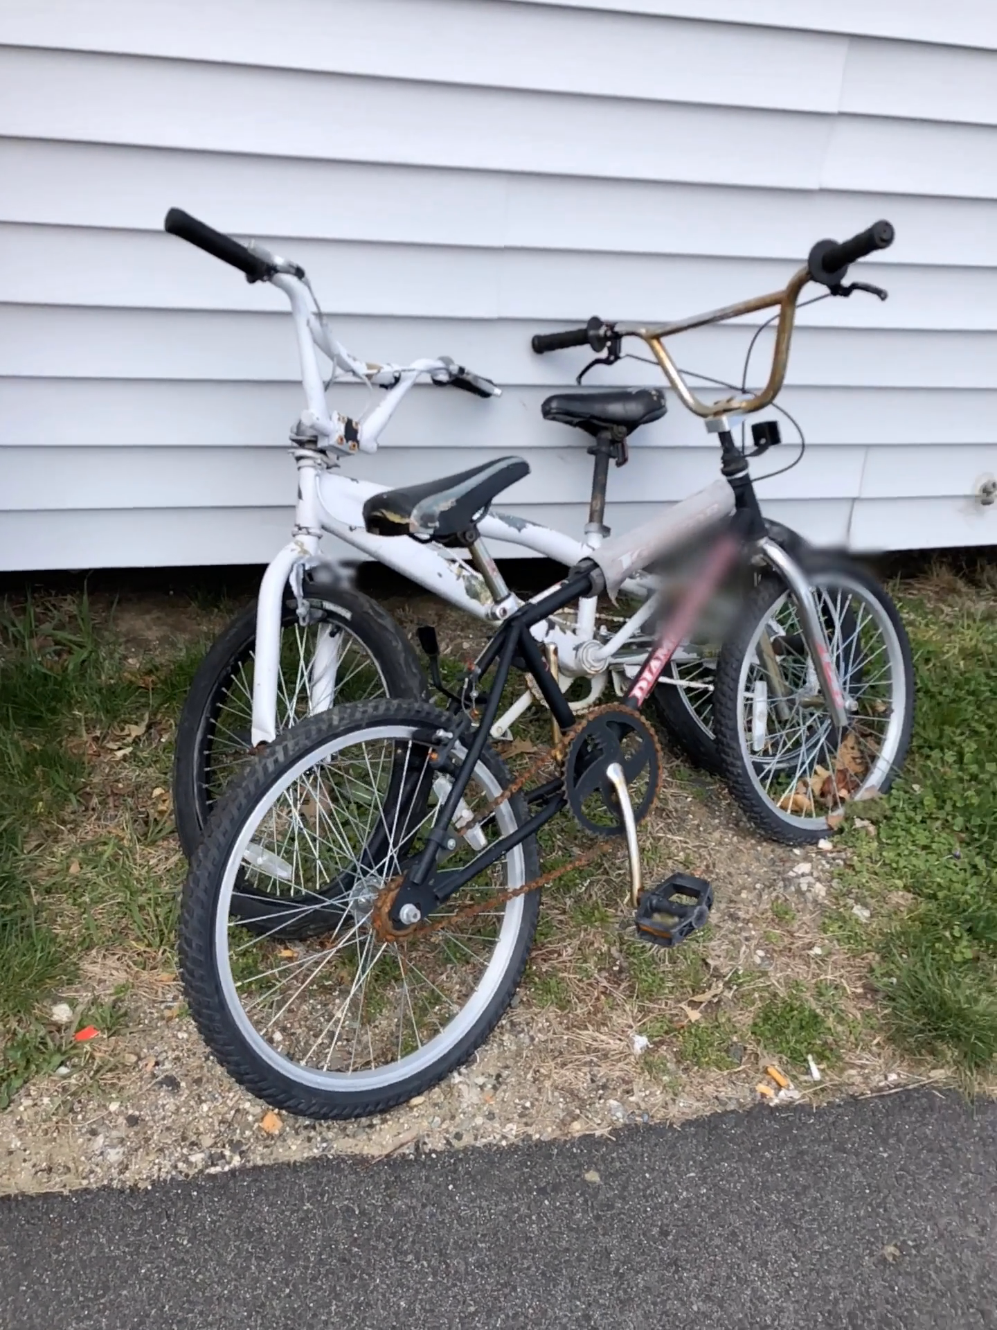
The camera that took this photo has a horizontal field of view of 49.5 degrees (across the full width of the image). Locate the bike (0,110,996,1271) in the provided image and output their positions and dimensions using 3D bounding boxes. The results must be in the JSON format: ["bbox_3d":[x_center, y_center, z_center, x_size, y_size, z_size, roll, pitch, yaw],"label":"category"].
[{"bbox_3d":[0.096,-0.148,1.474,1.301,0.932,0.758,-23,43,-35],"label":"bike"}]
